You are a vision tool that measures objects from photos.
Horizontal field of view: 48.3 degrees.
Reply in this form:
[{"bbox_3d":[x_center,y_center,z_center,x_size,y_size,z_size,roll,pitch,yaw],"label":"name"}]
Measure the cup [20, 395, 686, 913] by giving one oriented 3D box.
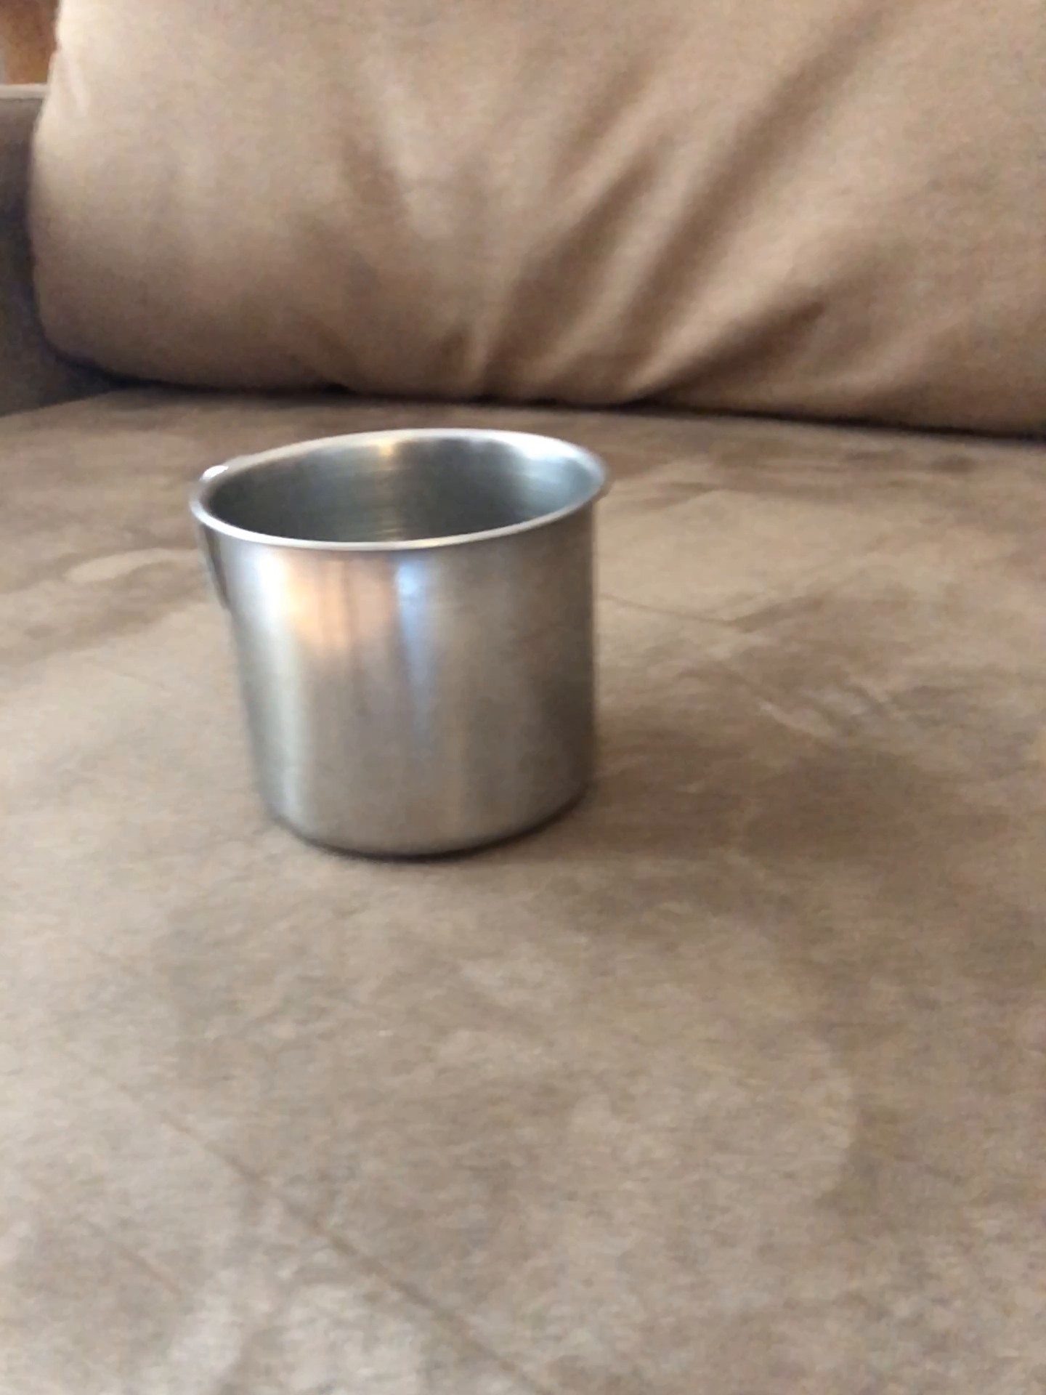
[{"bbox_3d":[-0.034,-0.020,0.264,0.110,0.070,0.090,15,30,33],"label":"cup"}]
